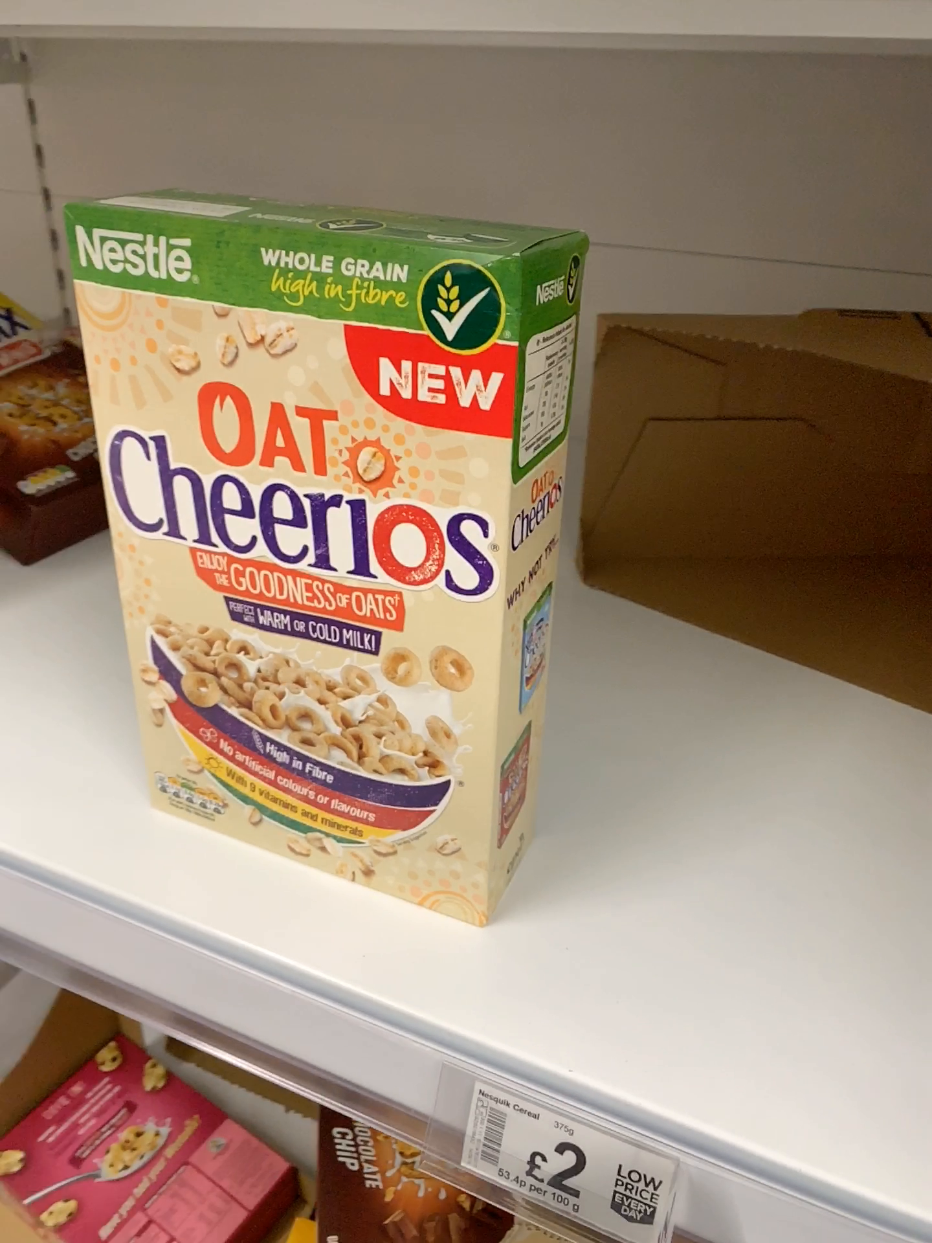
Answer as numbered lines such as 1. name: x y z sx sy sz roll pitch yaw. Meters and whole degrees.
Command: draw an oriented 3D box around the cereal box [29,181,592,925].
1. cereal box: -0.063 -0.028 0.425 0.200 0.287 0.071 14 31 21
